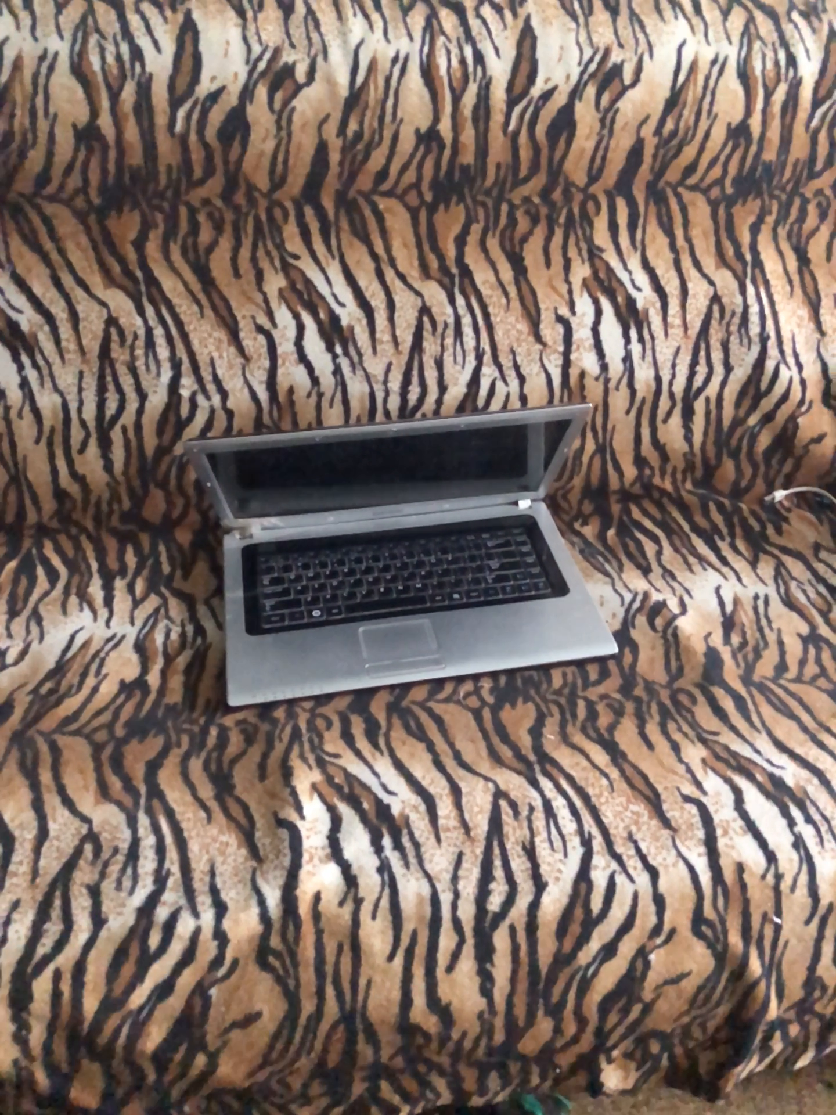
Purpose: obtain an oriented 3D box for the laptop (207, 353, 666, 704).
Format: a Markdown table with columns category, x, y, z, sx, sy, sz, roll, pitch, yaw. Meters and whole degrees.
| category | x | y | z | sx | sy | sz | roll | pitch | yaw |
| --- | --- | --- | --- | --- | --- | --- | --- | --- | --- |
| laptop | -0.004 | -0.038 | 0.843 | 0.350 | 0.179 | 0.239 | -6 | 41 | -9 |
